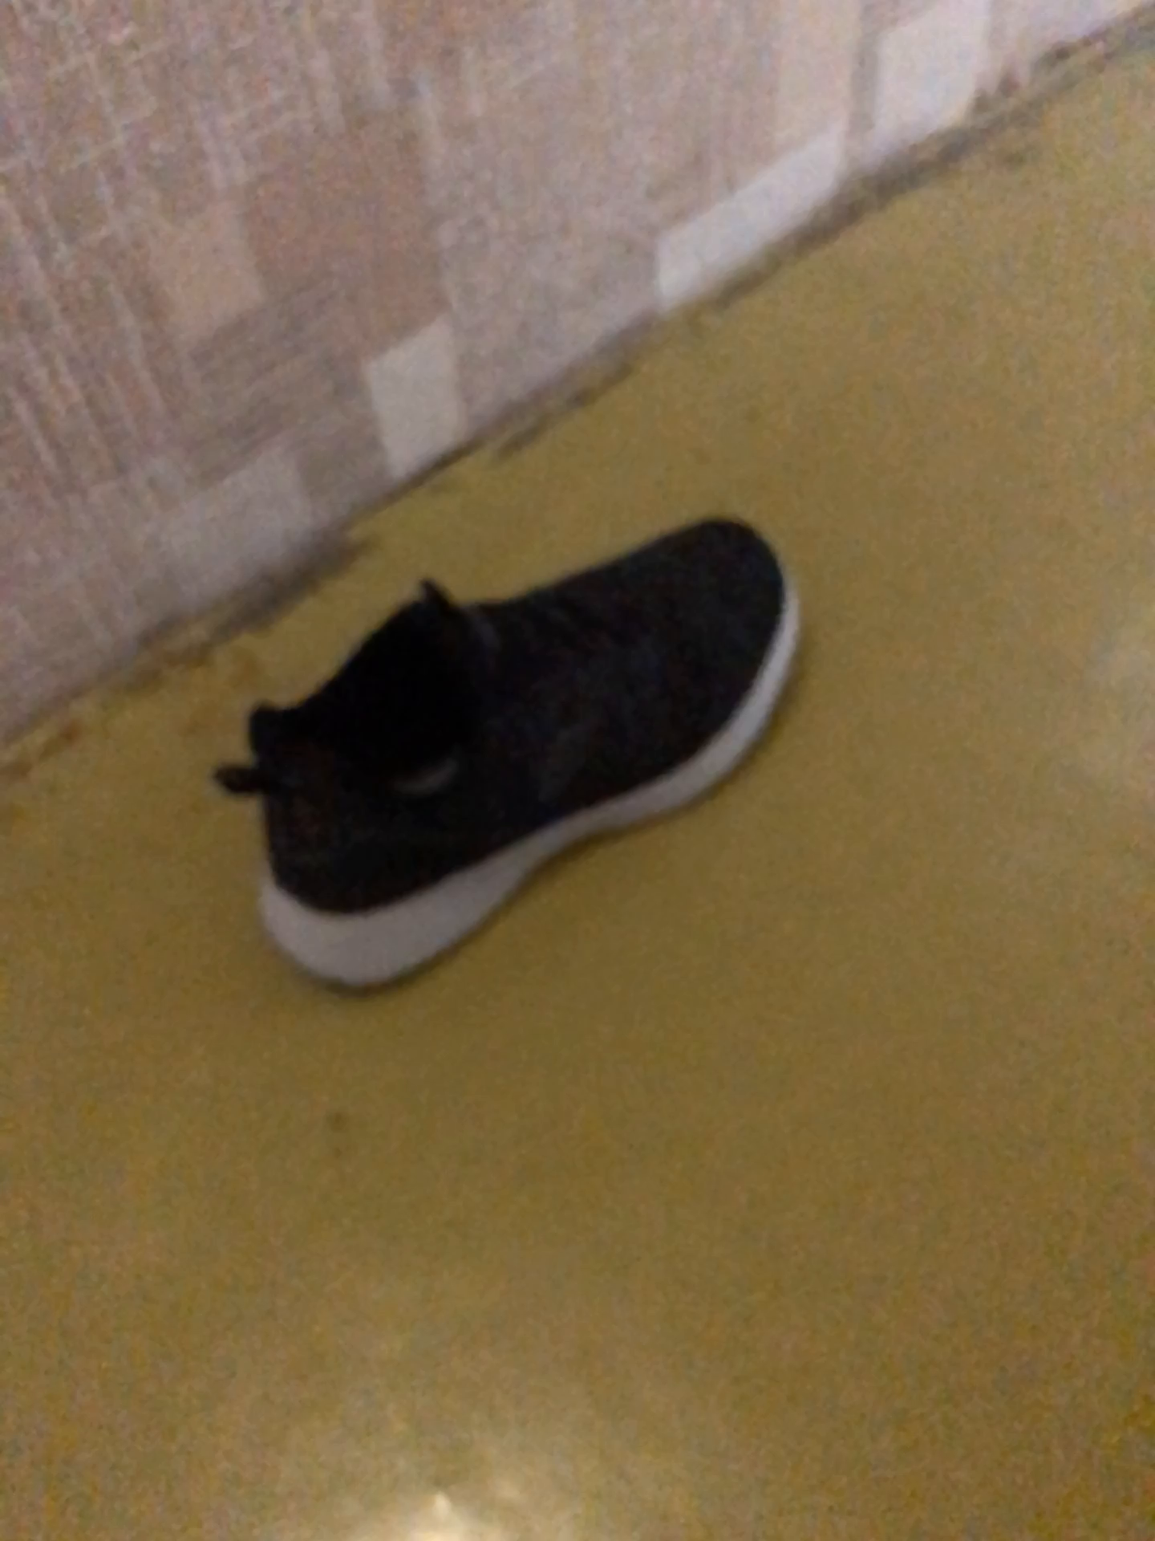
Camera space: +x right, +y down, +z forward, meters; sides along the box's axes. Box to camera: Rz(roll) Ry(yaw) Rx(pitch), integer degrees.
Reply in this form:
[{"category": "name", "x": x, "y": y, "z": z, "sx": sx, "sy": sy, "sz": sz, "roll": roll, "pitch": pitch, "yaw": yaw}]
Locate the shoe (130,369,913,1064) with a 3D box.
[{"category": "shoe", "x": -0.013, "y": -0.034, "z": 0.603, "sx": 0.320, "sy": 0.120, "sz": 0.130, "roll": -35, "pitch": 58, "yaw": -18}]
